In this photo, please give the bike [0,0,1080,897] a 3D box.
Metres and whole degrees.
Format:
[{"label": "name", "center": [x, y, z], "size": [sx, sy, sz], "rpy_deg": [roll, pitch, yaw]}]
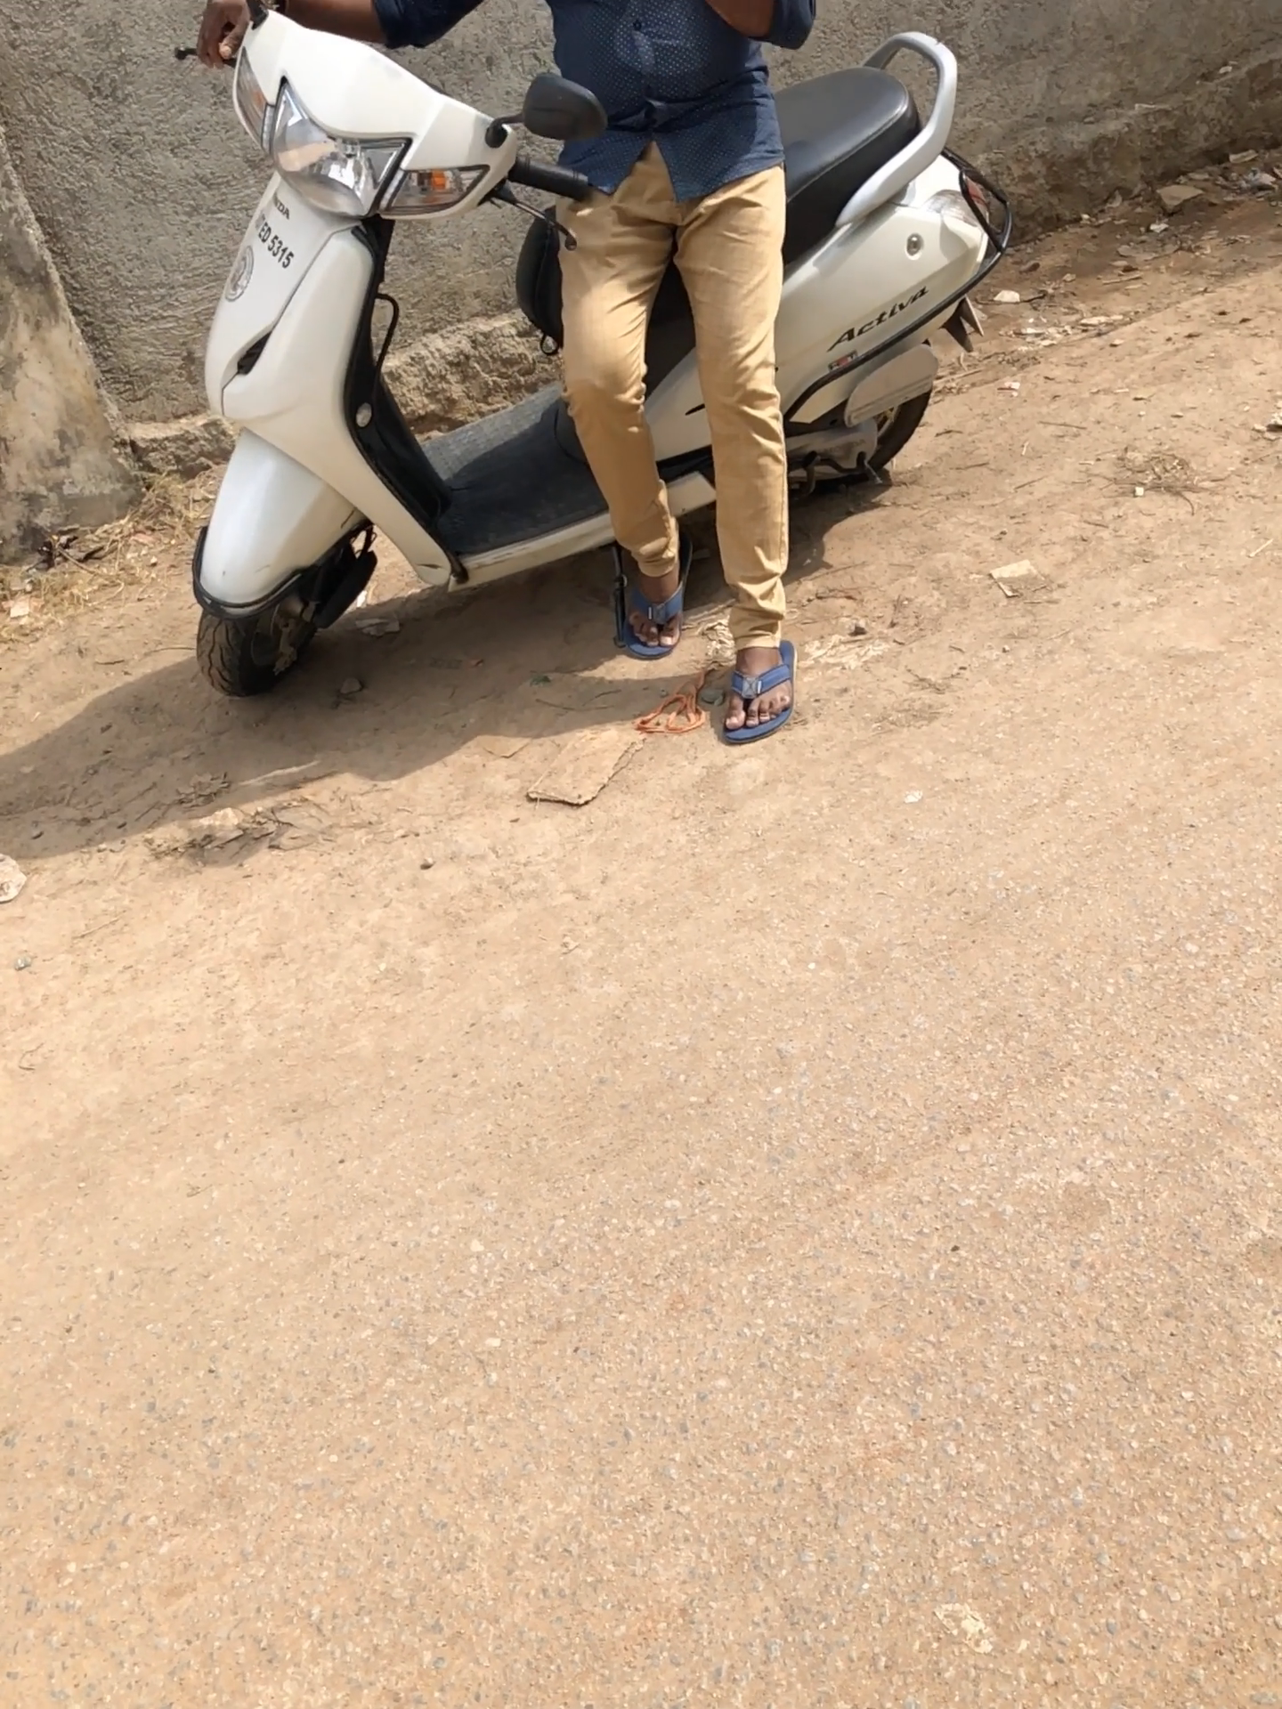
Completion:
[{"label": "bike", "center": [-0.084, -0.879, 2.473], "size": [1.626, 1.140, 0.671], "rpy_deg": [-24, 38, -14]}]
